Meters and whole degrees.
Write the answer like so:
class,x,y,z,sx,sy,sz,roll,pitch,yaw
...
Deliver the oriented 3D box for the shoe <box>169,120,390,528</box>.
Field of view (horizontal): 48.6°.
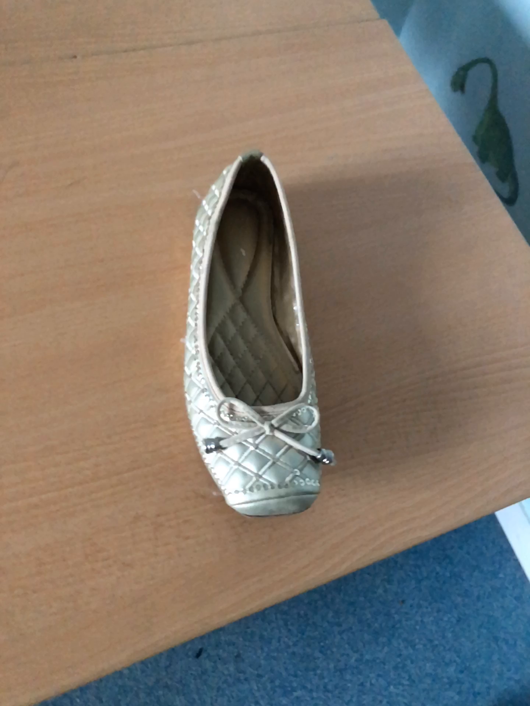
class,x,y,z,sx,sy,sz,roll,pitch,yaw
shoe,-0.005,-0.028,0.394,0.100,0.080,0.261,-4,66,-11
